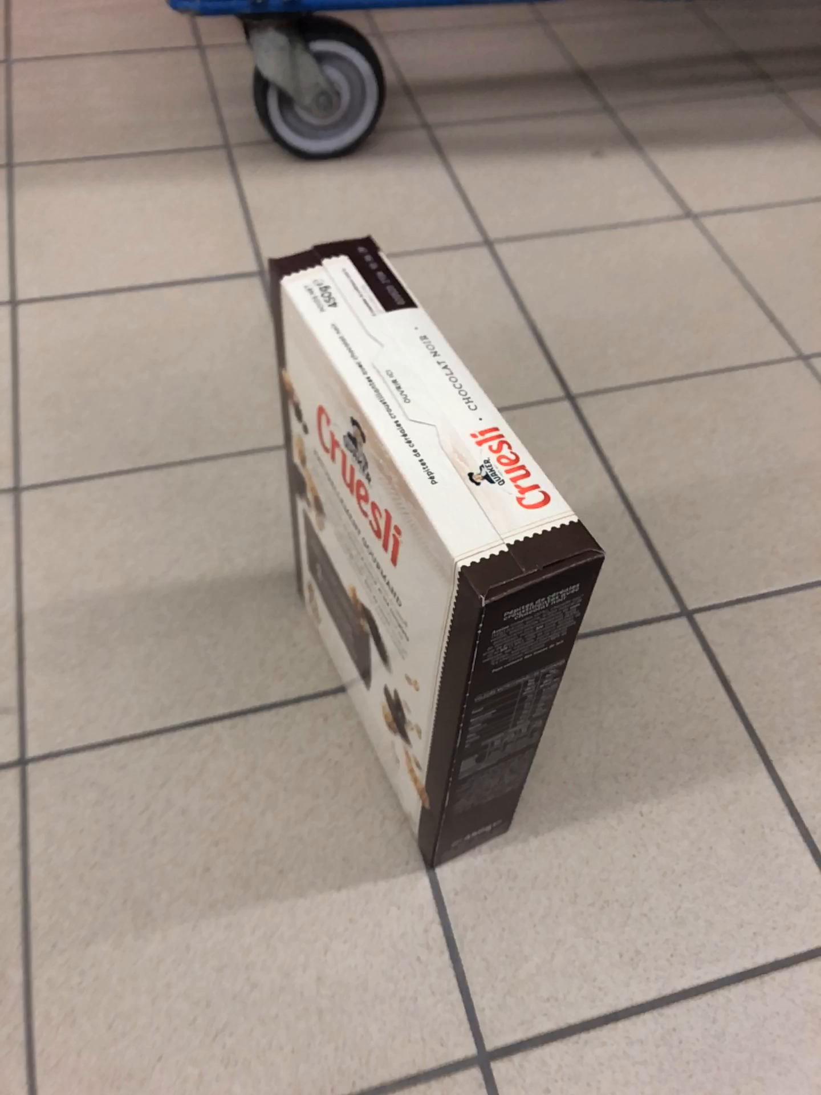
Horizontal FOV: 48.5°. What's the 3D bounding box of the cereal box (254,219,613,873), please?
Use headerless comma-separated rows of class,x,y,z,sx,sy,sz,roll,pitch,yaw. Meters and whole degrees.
cereal box,-0.007,0.011,0.429,0.050,0.239,0.201,-19,56,-17
